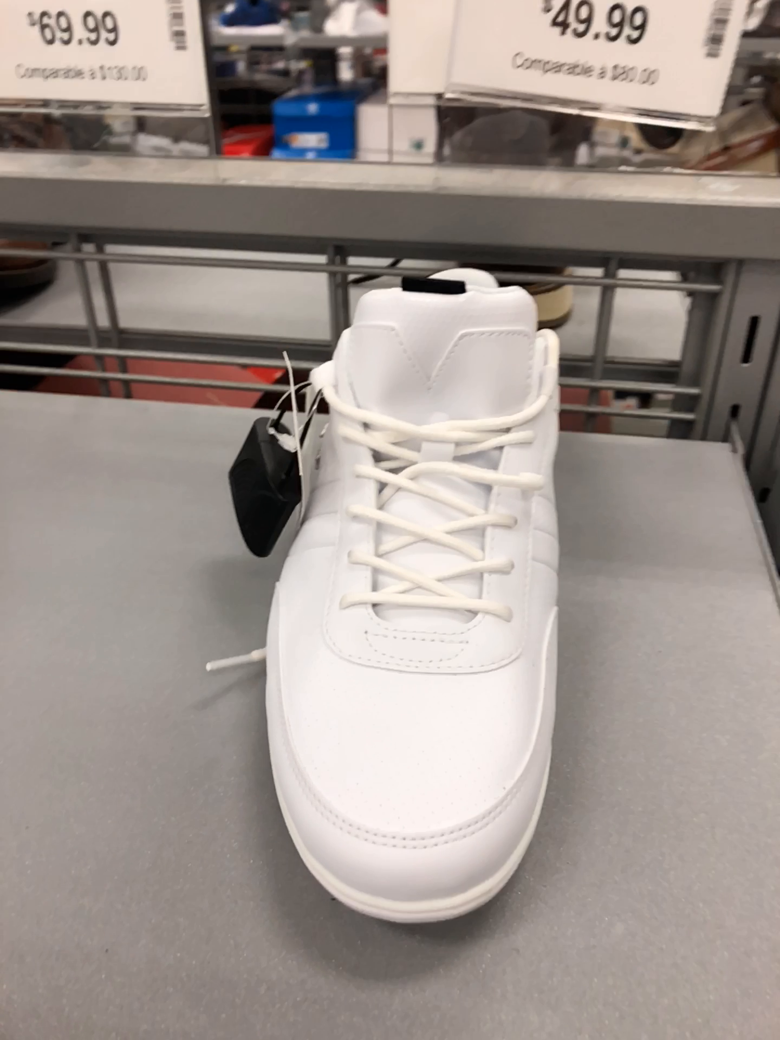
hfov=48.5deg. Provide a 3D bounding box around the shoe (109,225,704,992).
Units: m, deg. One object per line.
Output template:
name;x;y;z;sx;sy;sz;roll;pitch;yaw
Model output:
shoe;0.013;-0.007;0.305;0.110;0.119;0.272;2;33;4
